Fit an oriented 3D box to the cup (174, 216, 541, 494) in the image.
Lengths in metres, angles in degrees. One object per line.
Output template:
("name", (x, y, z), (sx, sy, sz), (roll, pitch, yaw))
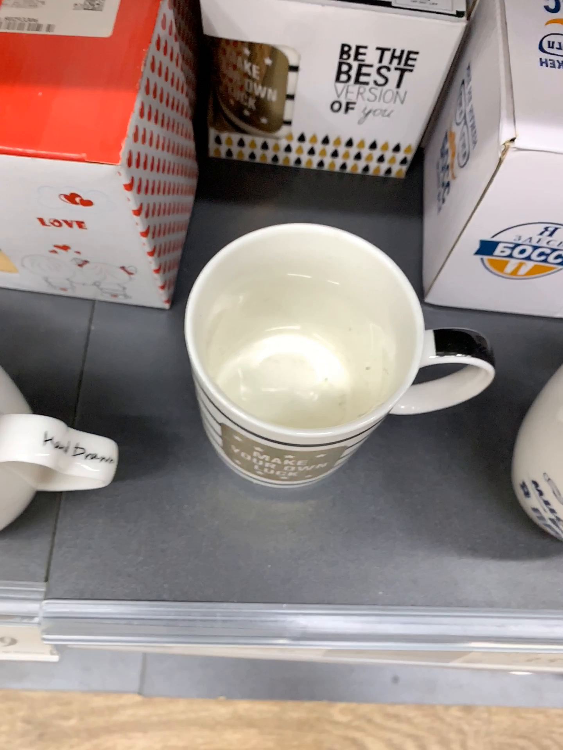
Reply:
("cup", (0.021, 0.000, 0.241), (0.114, 0.096, 0.081), (1, 70, -4))
